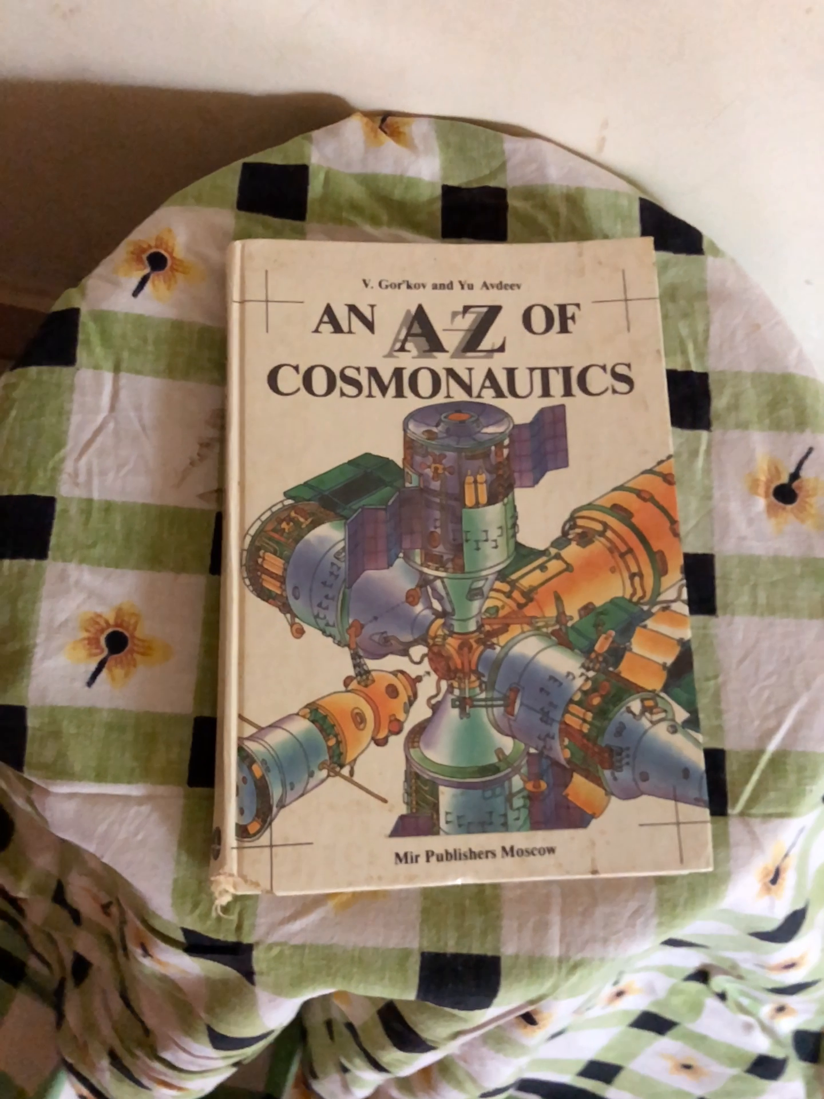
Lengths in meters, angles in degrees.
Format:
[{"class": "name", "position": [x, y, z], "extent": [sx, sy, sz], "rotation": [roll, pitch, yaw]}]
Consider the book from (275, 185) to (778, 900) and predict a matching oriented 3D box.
[{"class": "book", "position": [0.035, -0.008, 0.380], "extent": [0.180, 0.060, 0.270], "rotation": [0, 77, -8]}]
